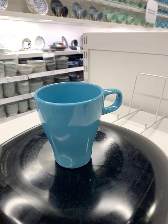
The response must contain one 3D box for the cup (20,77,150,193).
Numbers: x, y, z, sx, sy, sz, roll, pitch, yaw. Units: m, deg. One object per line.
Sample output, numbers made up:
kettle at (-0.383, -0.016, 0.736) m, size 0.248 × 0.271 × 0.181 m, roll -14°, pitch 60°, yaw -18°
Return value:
cup at (-0.003, 0.015, 0.247) m, size 0.140 × 0.100 × 0.100 m, roll -11°, pitch 26°, yaw -26°
